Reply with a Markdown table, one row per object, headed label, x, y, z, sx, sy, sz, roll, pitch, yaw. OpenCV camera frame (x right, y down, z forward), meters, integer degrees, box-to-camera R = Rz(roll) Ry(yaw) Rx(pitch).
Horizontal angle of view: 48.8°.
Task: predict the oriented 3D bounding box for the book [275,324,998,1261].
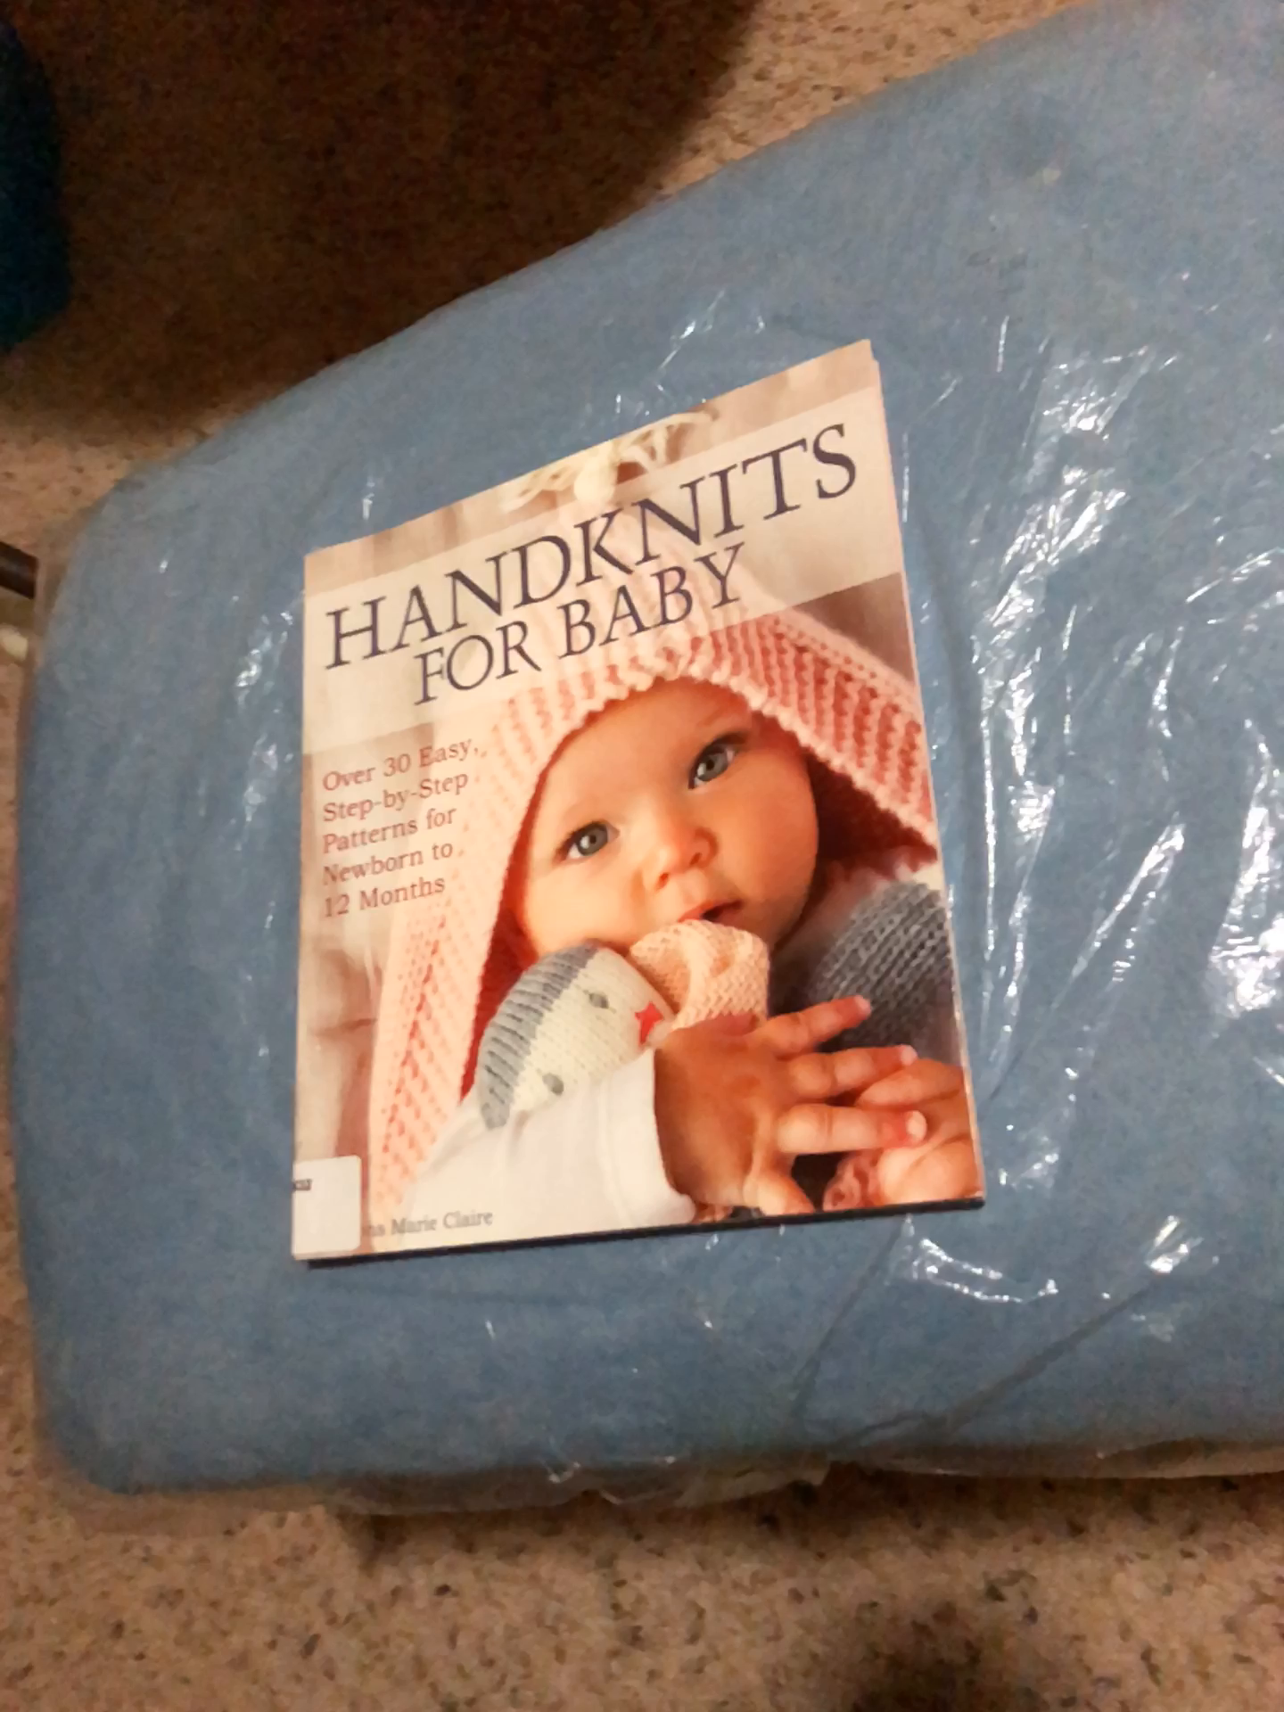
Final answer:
| label | x | y | z | sx | sy | sz | roll | pitch | yaw |
| --- | --- | --- | --- | --- | --- | --- | --- | --- | --- |
| book | -0.018 | -0.011 | 0.386 | 0.197 | 0.020 | 0.220 | -13 | 70 | 27 |
